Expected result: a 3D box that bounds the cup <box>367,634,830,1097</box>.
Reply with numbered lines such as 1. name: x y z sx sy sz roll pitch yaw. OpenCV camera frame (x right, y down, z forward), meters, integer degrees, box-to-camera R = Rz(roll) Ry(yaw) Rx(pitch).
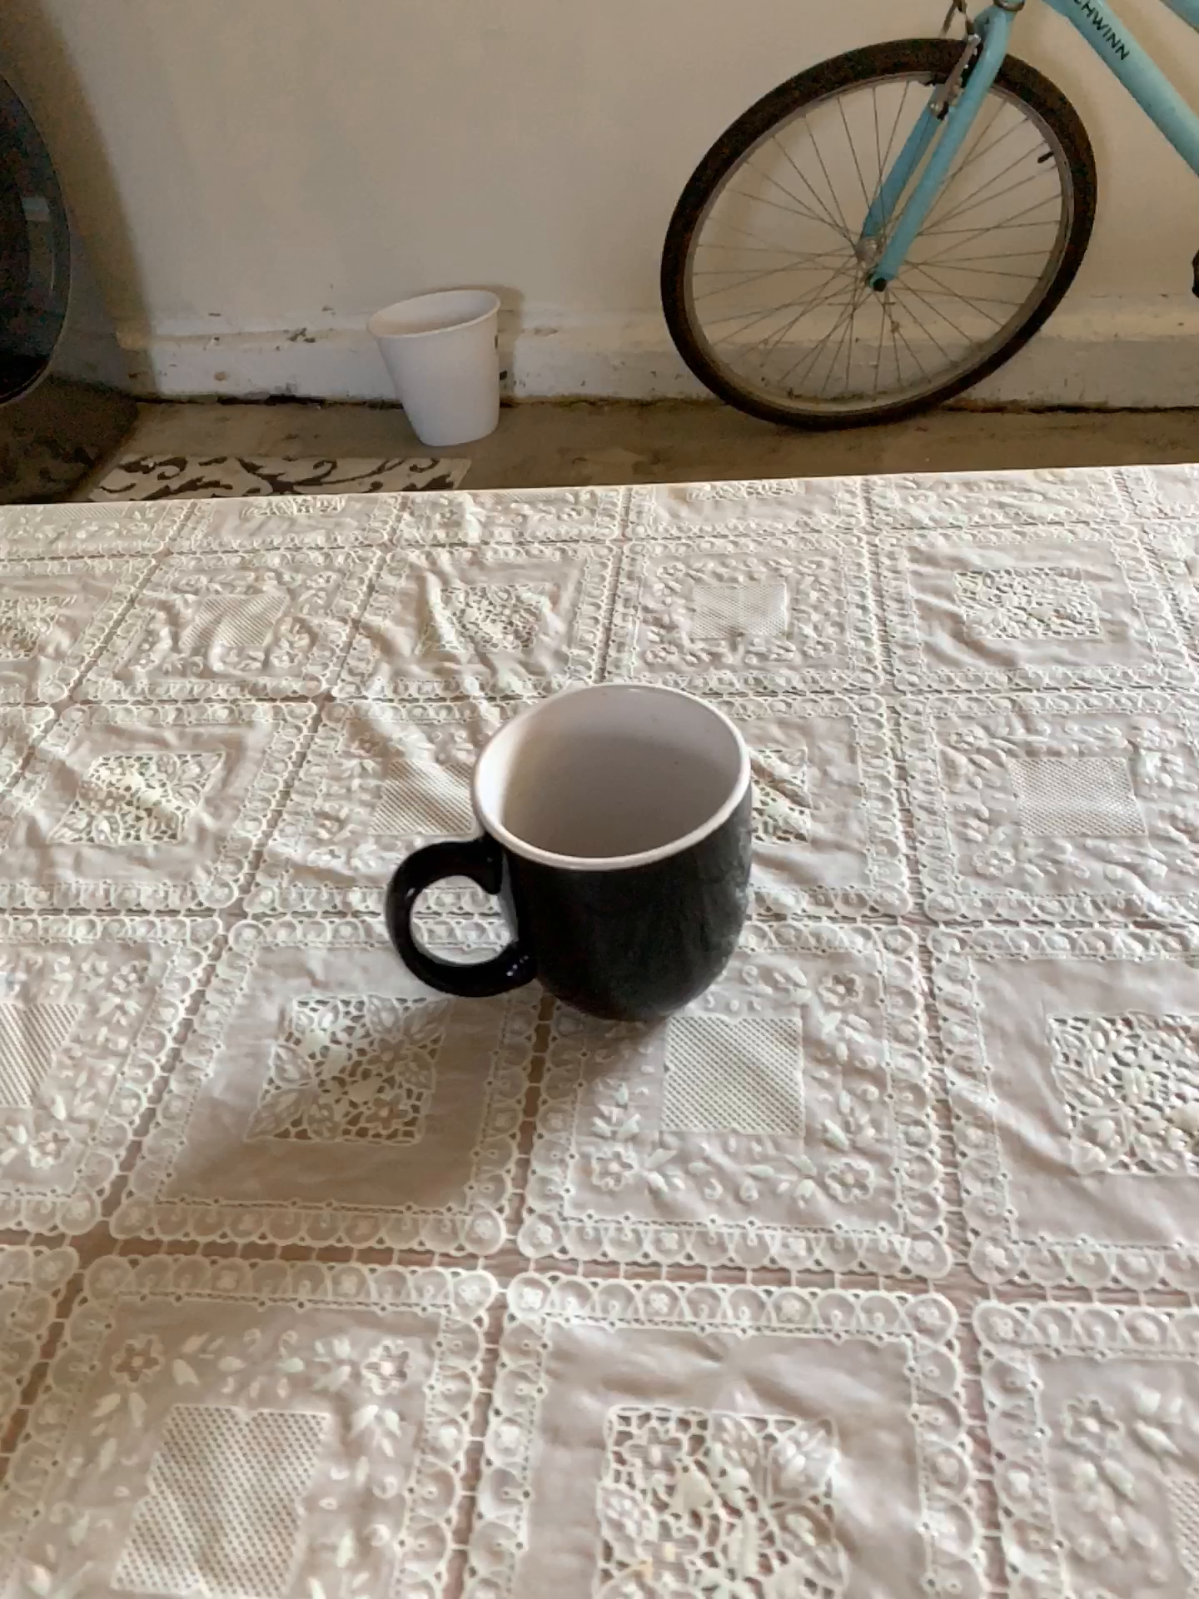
1. cup: 0.000 0.023 0.453 0.140 0.100 0.100 -14 44 -5
